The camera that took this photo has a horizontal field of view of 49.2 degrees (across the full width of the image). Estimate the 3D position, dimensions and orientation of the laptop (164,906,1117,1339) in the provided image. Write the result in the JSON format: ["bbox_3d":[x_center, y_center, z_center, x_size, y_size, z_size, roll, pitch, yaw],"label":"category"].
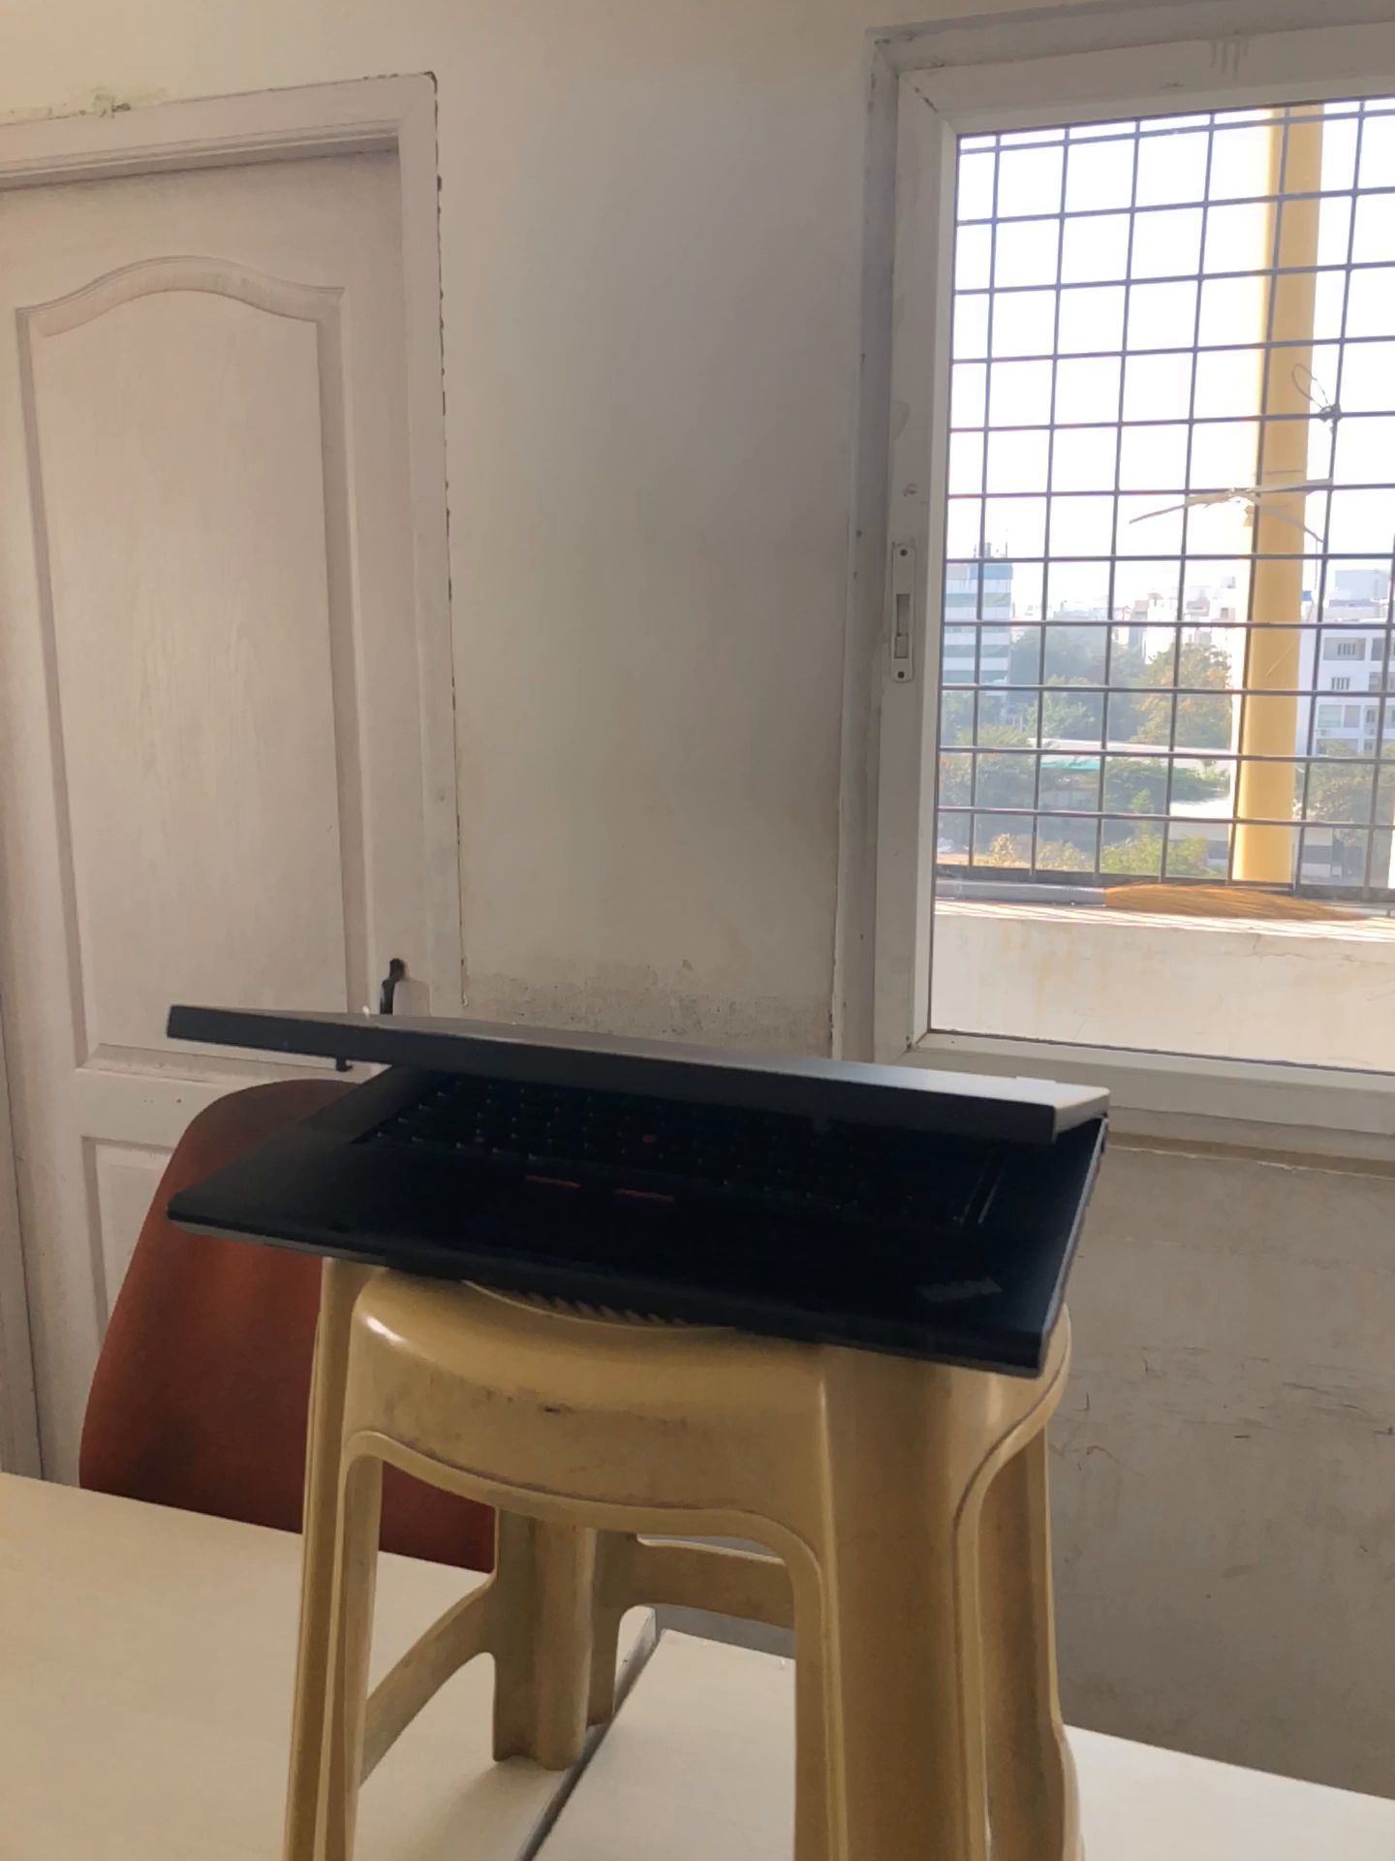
[{"bbox_3d":[-0.011,0.065,0.692,0.362,0.075,0.235,5,16,19],"label":"laptop"}]
